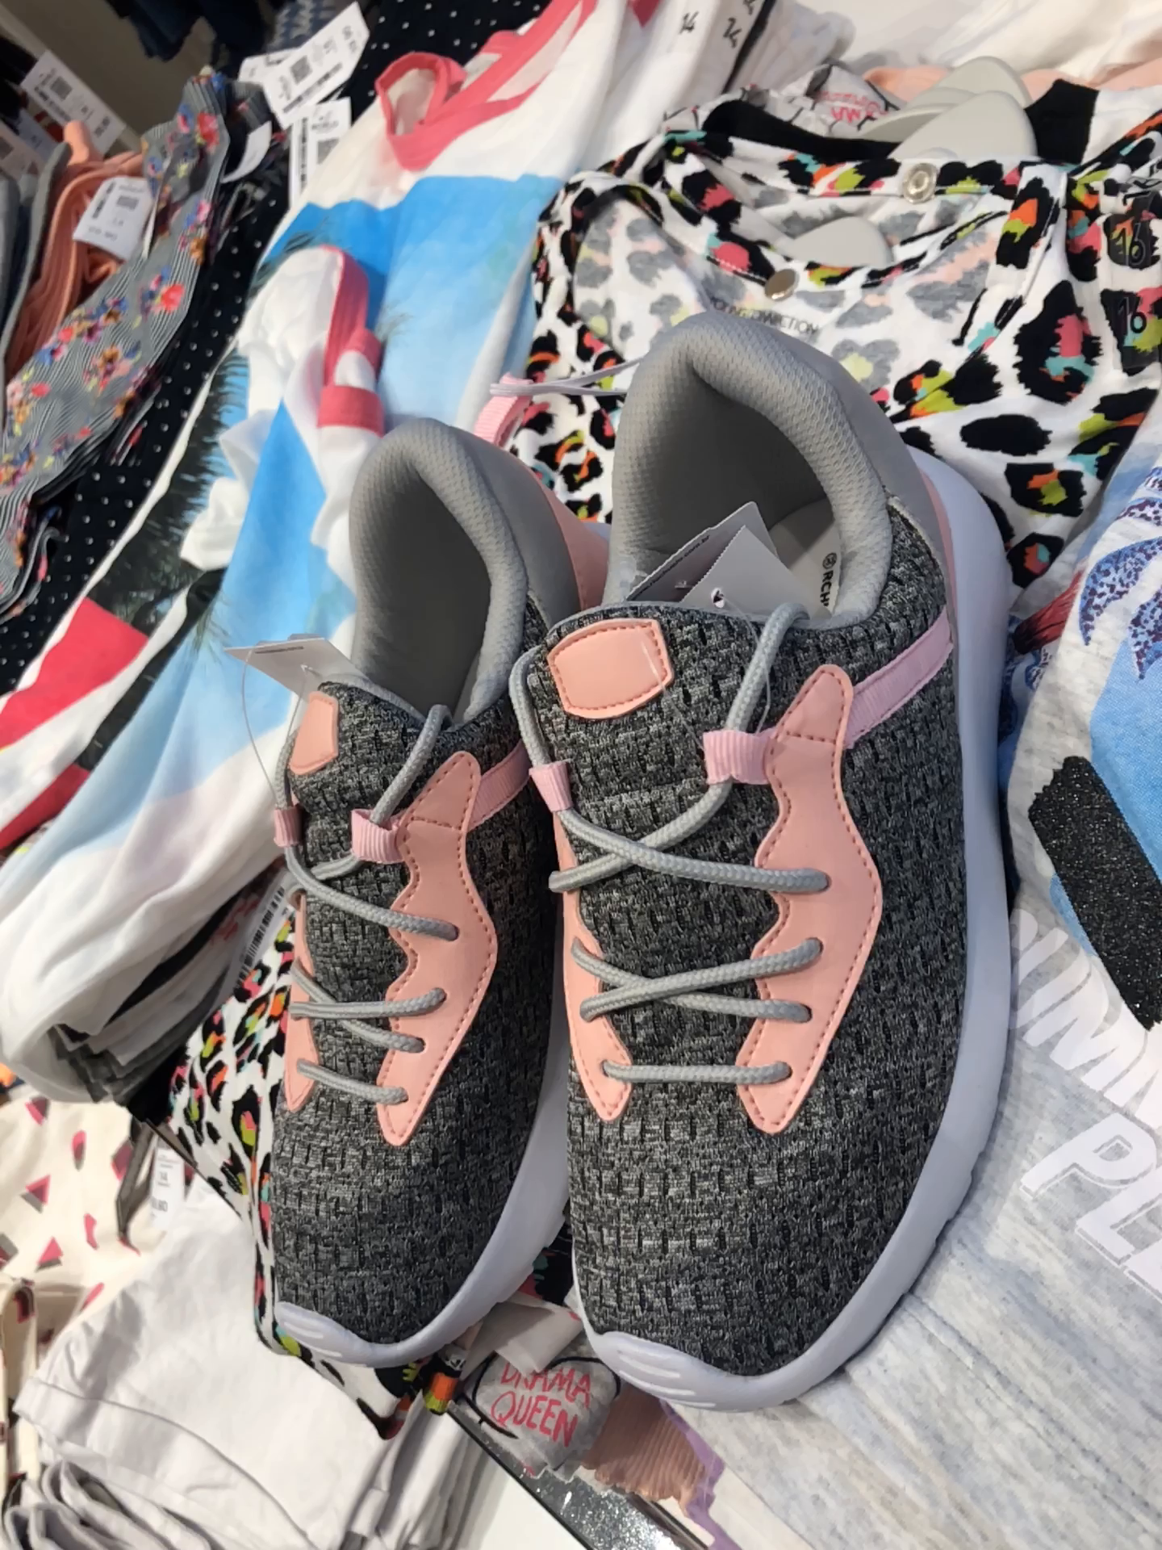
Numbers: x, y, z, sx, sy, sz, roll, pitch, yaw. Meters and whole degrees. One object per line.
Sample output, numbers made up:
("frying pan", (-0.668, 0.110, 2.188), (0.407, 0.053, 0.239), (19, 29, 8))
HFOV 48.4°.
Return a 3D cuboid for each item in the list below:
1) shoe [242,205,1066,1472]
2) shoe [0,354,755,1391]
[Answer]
("shoe", (0.027, 0.015, 0.268), (0.100, 0.099, 0.210), (-7, 64, 39))
("shoe", (-0.043, 0.025, 0.333), (0.100, 0.099, 0.220), (-3, 66, 41))
